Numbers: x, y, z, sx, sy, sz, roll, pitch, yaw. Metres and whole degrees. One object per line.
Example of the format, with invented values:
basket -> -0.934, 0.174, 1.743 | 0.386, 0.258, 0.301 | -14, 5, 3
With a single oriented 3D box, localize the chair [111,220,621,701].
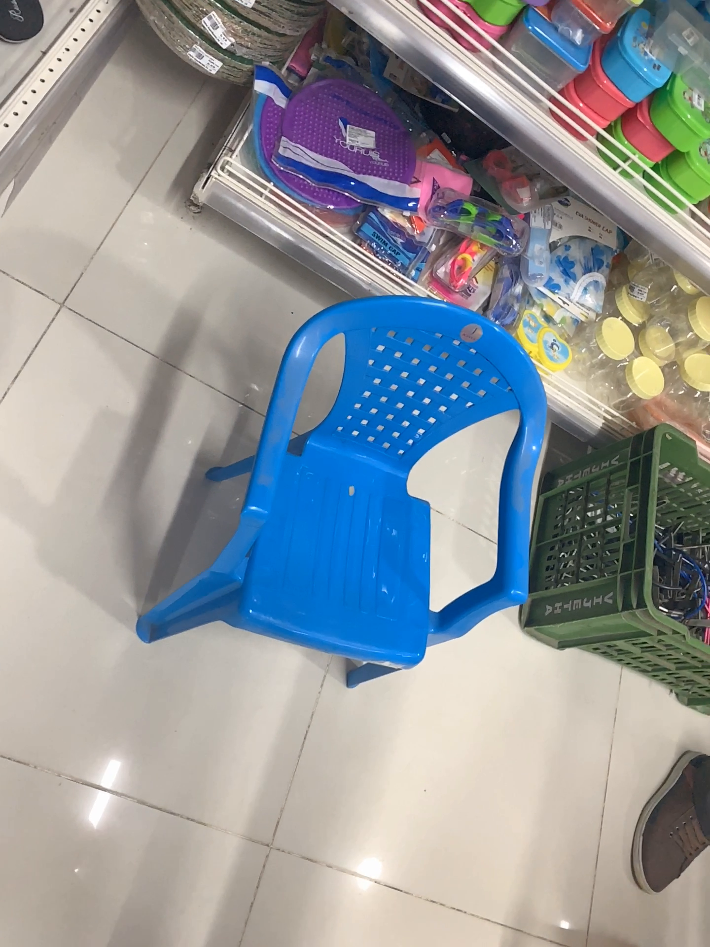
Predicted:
chair -> -0.009, 0.055, 0.919 | 0.401, 0.509, 0.360 | 21, 64, -22
